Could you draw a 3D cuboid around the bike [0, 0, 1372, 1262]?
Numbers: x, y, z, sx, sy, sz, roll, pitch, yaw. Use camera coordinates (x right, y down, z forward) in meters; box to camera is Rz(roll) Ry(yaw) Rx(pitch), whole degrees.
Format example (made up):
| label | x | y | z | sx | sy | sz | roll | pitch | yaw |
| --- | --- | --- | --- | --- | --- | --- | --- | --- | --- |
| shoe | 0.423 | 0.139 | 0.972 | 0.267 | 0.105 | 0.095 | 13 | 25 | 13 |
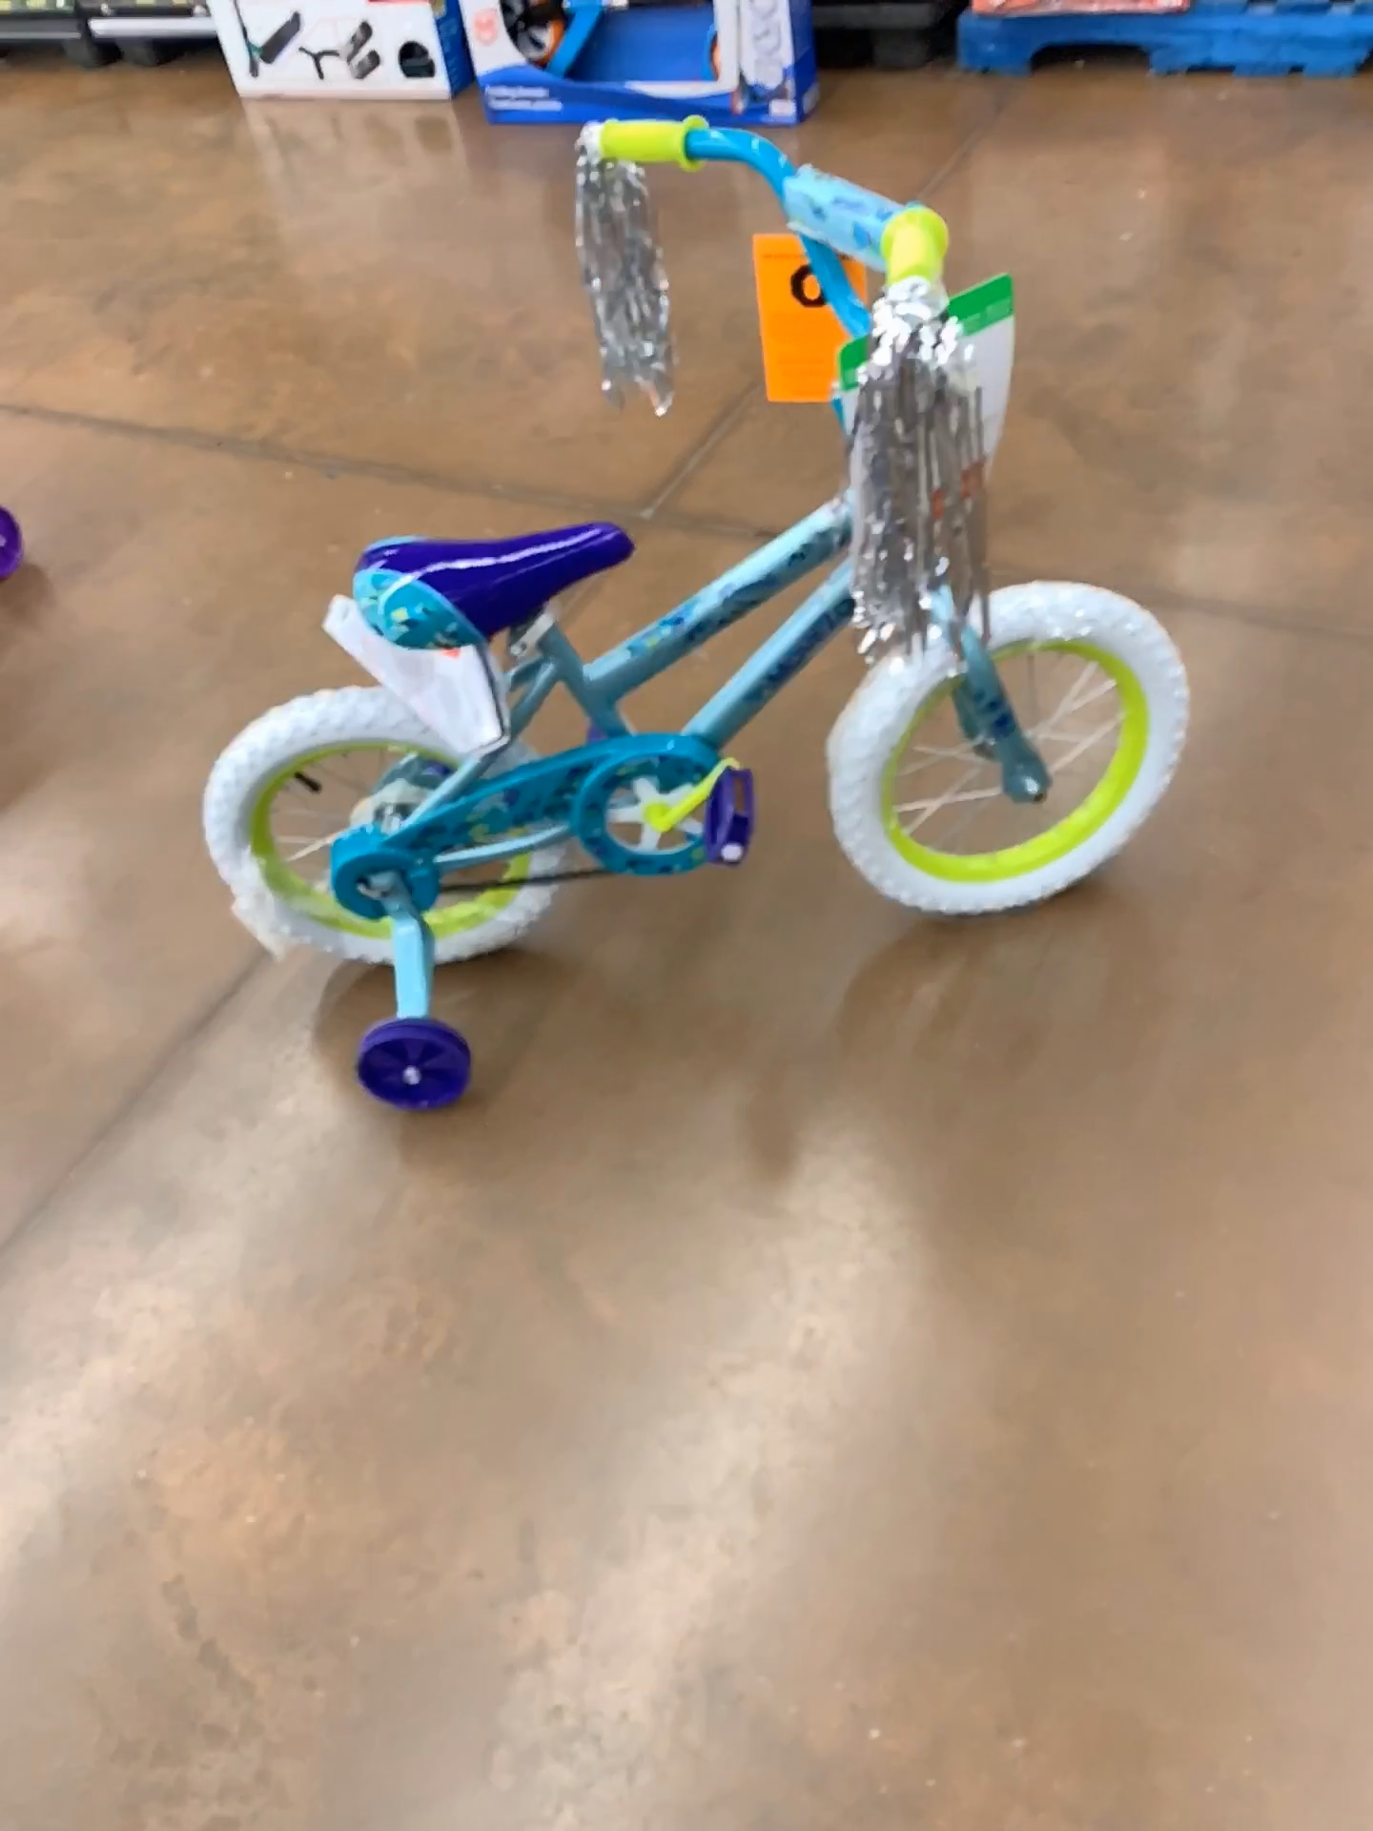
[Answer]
| label | x | y | z | sx | sy | sz | roll | pitch | yaw |
| --- | --- | --- | --- | --- | --- | --- | --- | --- | --- |
| bike | -0.015 | -0.232 | 1.139 | 0.859 | 0.638 | 0.626 | -11 | 46 | 0 |
